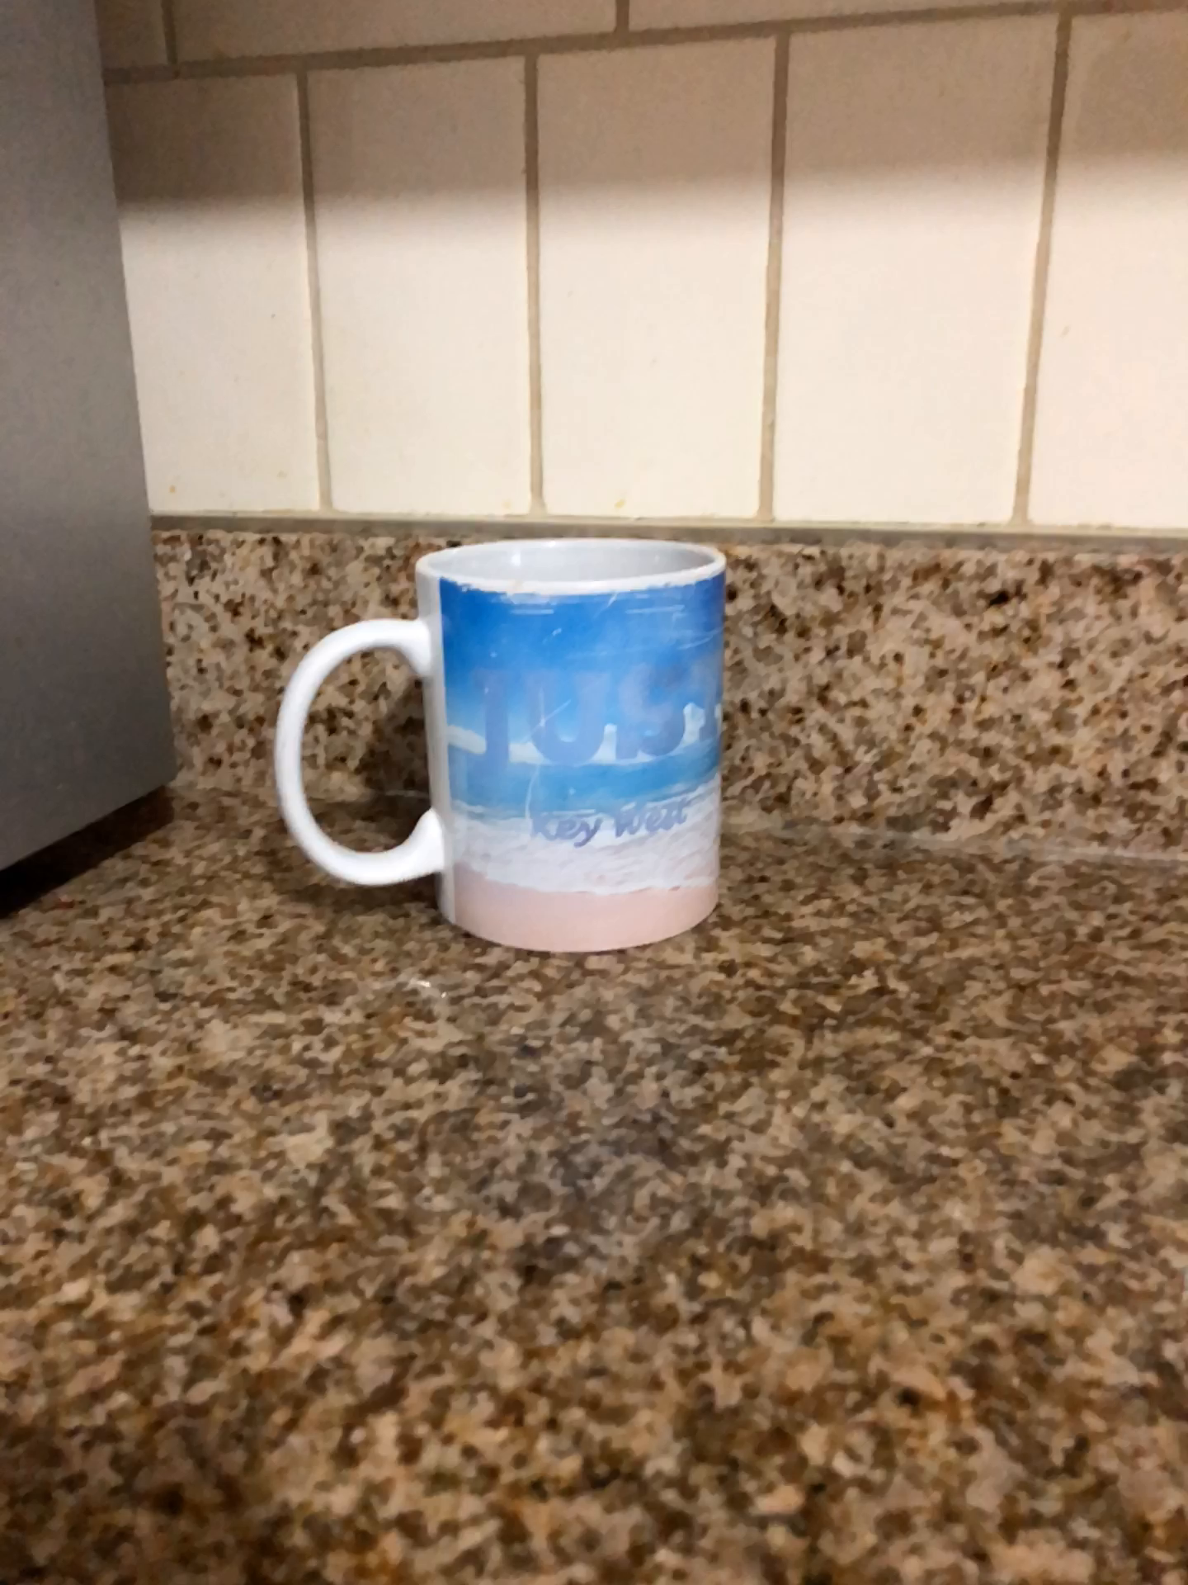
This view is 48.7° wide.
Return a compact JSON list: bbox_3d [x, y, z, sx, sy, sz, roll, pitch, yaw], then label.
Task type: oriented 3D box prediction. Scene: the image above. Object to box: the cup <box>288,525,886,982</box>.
[{"bbox_3d":[-0.006,-0.019,0.344,0.130,0.090,0.090,-6,17,-17],"label":"cup"}]
